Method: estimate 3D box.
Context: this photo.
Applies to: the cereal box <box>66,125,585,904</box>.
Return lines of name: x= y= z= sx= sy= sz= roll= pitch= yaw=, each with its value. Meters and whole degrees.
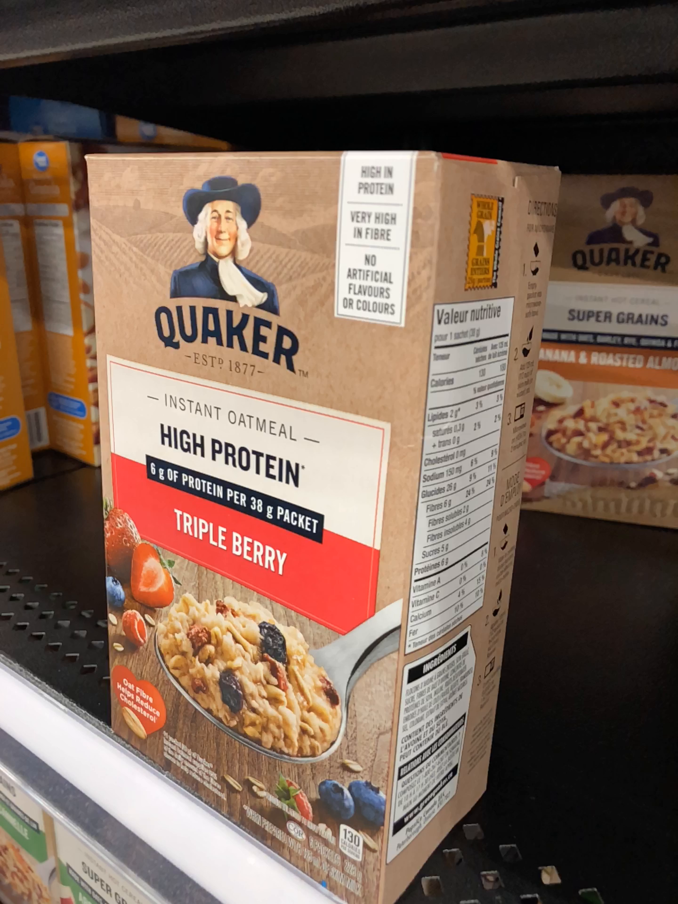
cereal box: x=-0.012 y=0.011 z=0.238 sx=0.130 sy=0.199 sz=0.070 roll=15 pitch=20 yaw=36
